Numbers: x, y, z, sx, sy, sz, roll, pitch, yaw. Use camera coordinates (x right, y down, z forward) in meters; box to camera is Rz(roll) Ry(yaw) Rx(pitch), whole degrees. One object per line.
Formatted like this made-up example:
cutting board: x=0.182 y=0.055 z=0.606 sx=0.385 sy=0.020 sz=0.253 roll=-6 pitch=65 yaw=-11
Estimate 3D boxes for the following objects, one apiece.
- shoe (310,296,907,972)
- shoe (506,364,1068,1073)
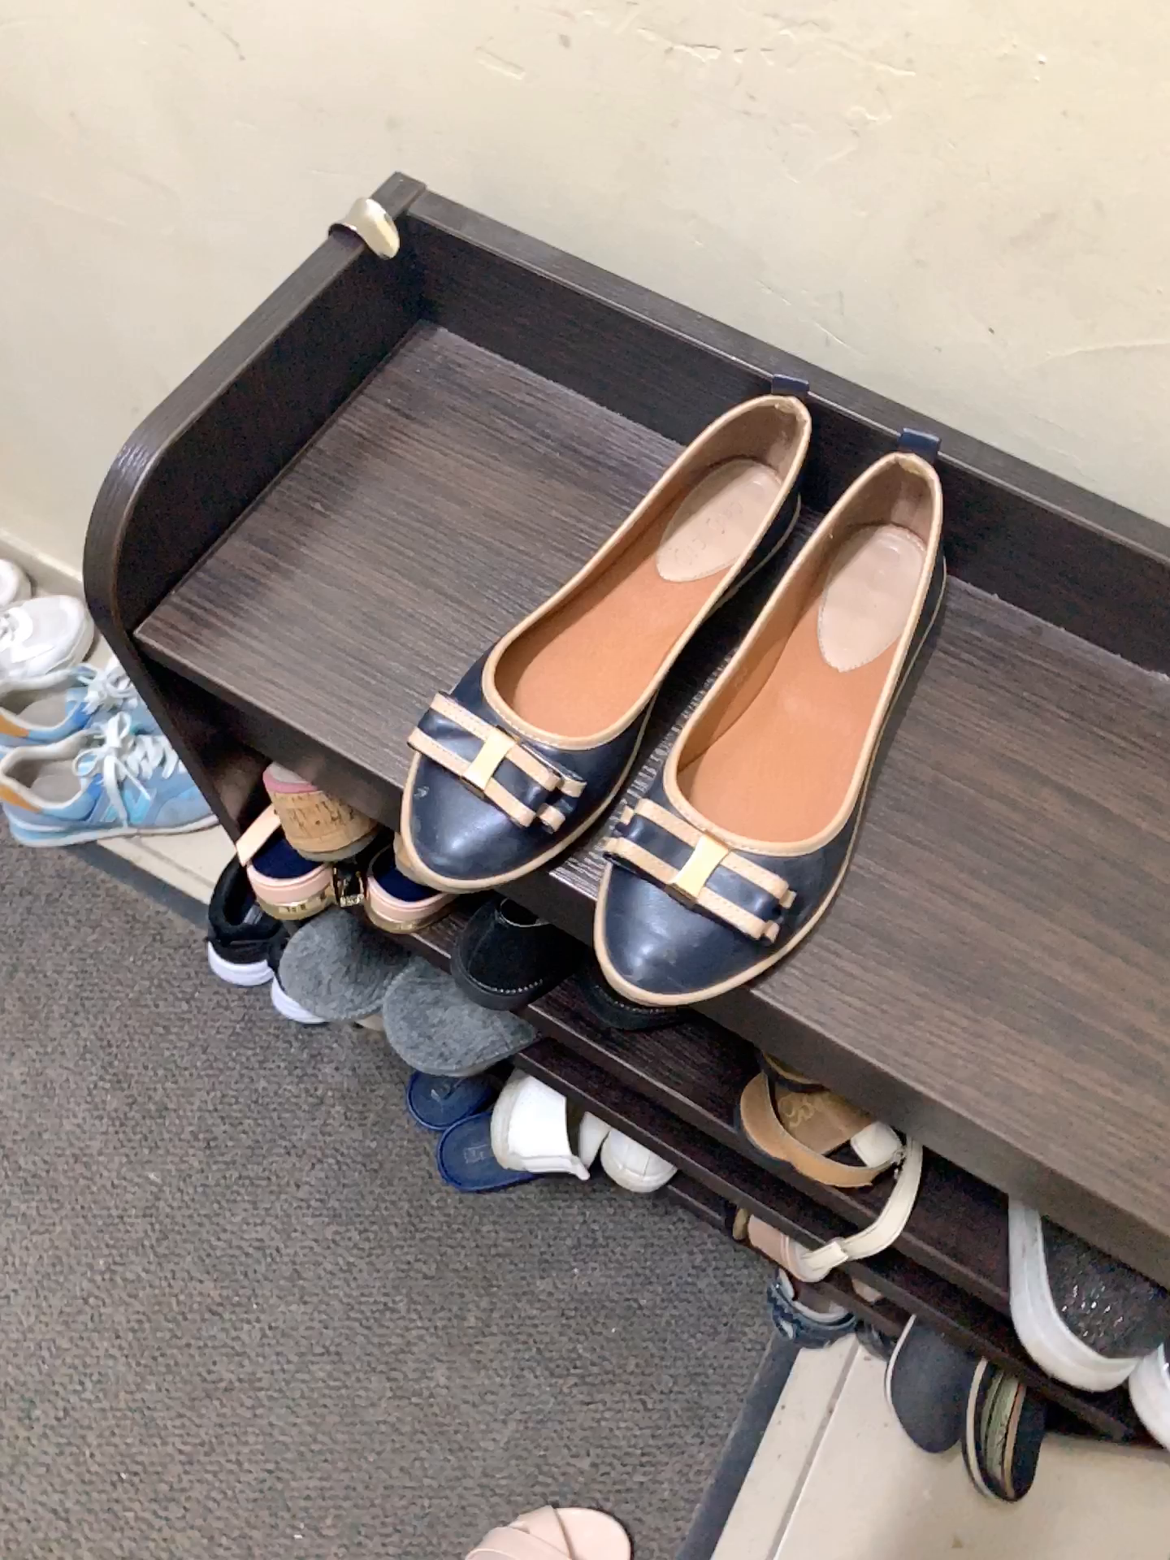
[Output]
shoe: x=0.021 y=-0.072 z=0.520 sx=0.100 sy=0.100 sz=0.280 roll=29 pitch=65 yaw=18
shoe: x=0.090 y=-0.034 z=0.507 sx=0.100 sy=0.100 sz=0.280 roll=27 pitch=65 yaw=17
